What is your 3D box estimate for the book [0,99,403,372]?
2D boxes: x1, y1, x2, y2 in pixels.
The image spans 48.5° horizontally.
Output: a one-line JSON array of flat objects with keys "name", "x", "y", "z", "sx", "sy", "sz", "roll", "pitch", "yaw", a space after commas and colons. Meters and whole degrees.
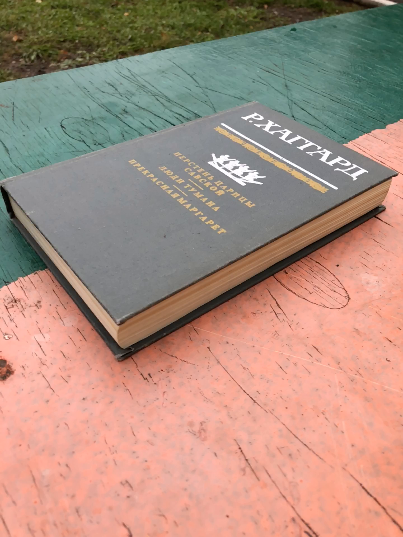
[{"name": "book", "x": 0.007, "y": -0.048, "z": 0.294, "sx": 0.222, "sy": 0.030, "sz": 0.150, "roll": -27, "pitch": 50, "yaw": -28}]
